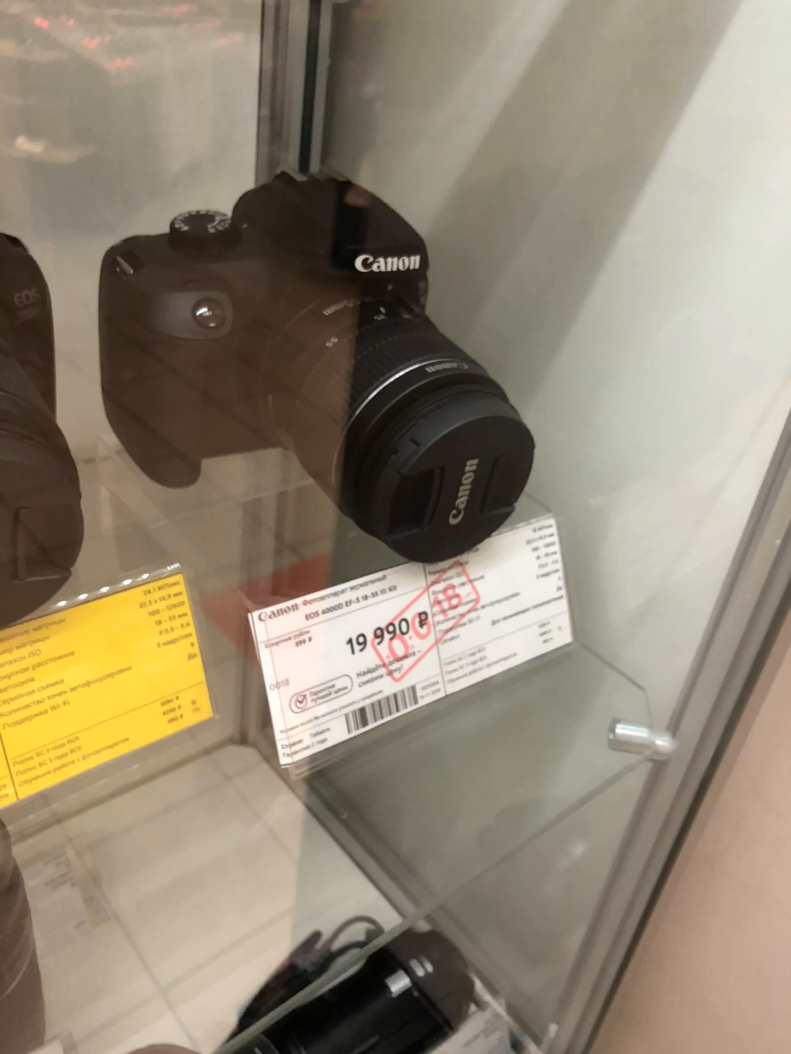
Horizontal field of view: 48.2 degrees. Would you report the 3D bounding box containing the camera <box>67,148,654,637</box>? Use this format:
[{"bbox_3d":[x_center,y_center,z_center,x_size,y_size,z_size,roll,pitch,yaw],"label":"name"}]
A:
[{"bbox_3d":[-0.021,-0.062,0.306,0.125,0.099,0.147,-17,40,-35],"label":"camera"}]
